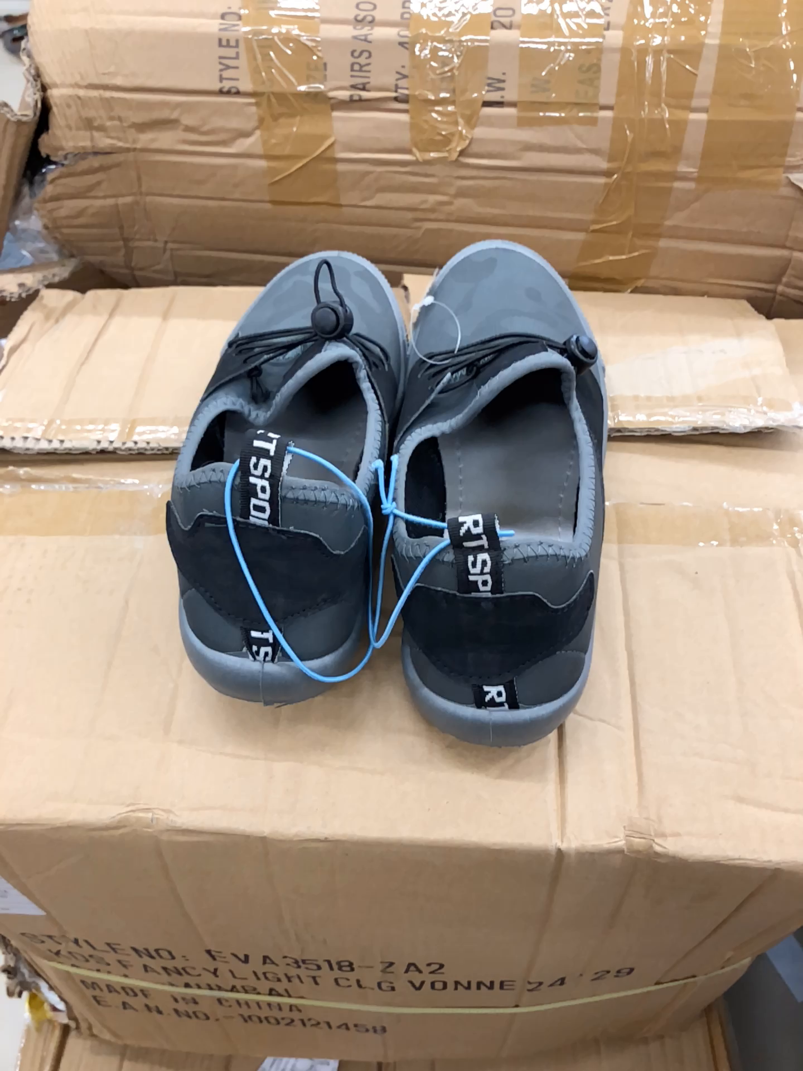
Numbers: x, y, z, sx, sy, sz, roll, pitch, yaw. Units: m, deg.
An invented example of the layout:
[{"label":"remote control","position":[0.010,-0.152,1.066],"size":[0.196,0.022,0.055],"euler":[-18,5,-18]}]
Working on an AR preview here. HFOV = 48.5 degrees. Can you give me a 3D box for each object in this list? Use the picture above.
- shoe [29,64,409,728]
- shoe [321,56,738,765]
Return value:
[{"label":"shoe","position":[-0.054,-0.082,0.423],"size":[0.110,0.149,0.302],"euler":[1,50,1]},{"label":"shoe","position":[0.046,-0.074,0.383],"size":[0.110,0.129,0.302],"euler":[4,50,3]}]
